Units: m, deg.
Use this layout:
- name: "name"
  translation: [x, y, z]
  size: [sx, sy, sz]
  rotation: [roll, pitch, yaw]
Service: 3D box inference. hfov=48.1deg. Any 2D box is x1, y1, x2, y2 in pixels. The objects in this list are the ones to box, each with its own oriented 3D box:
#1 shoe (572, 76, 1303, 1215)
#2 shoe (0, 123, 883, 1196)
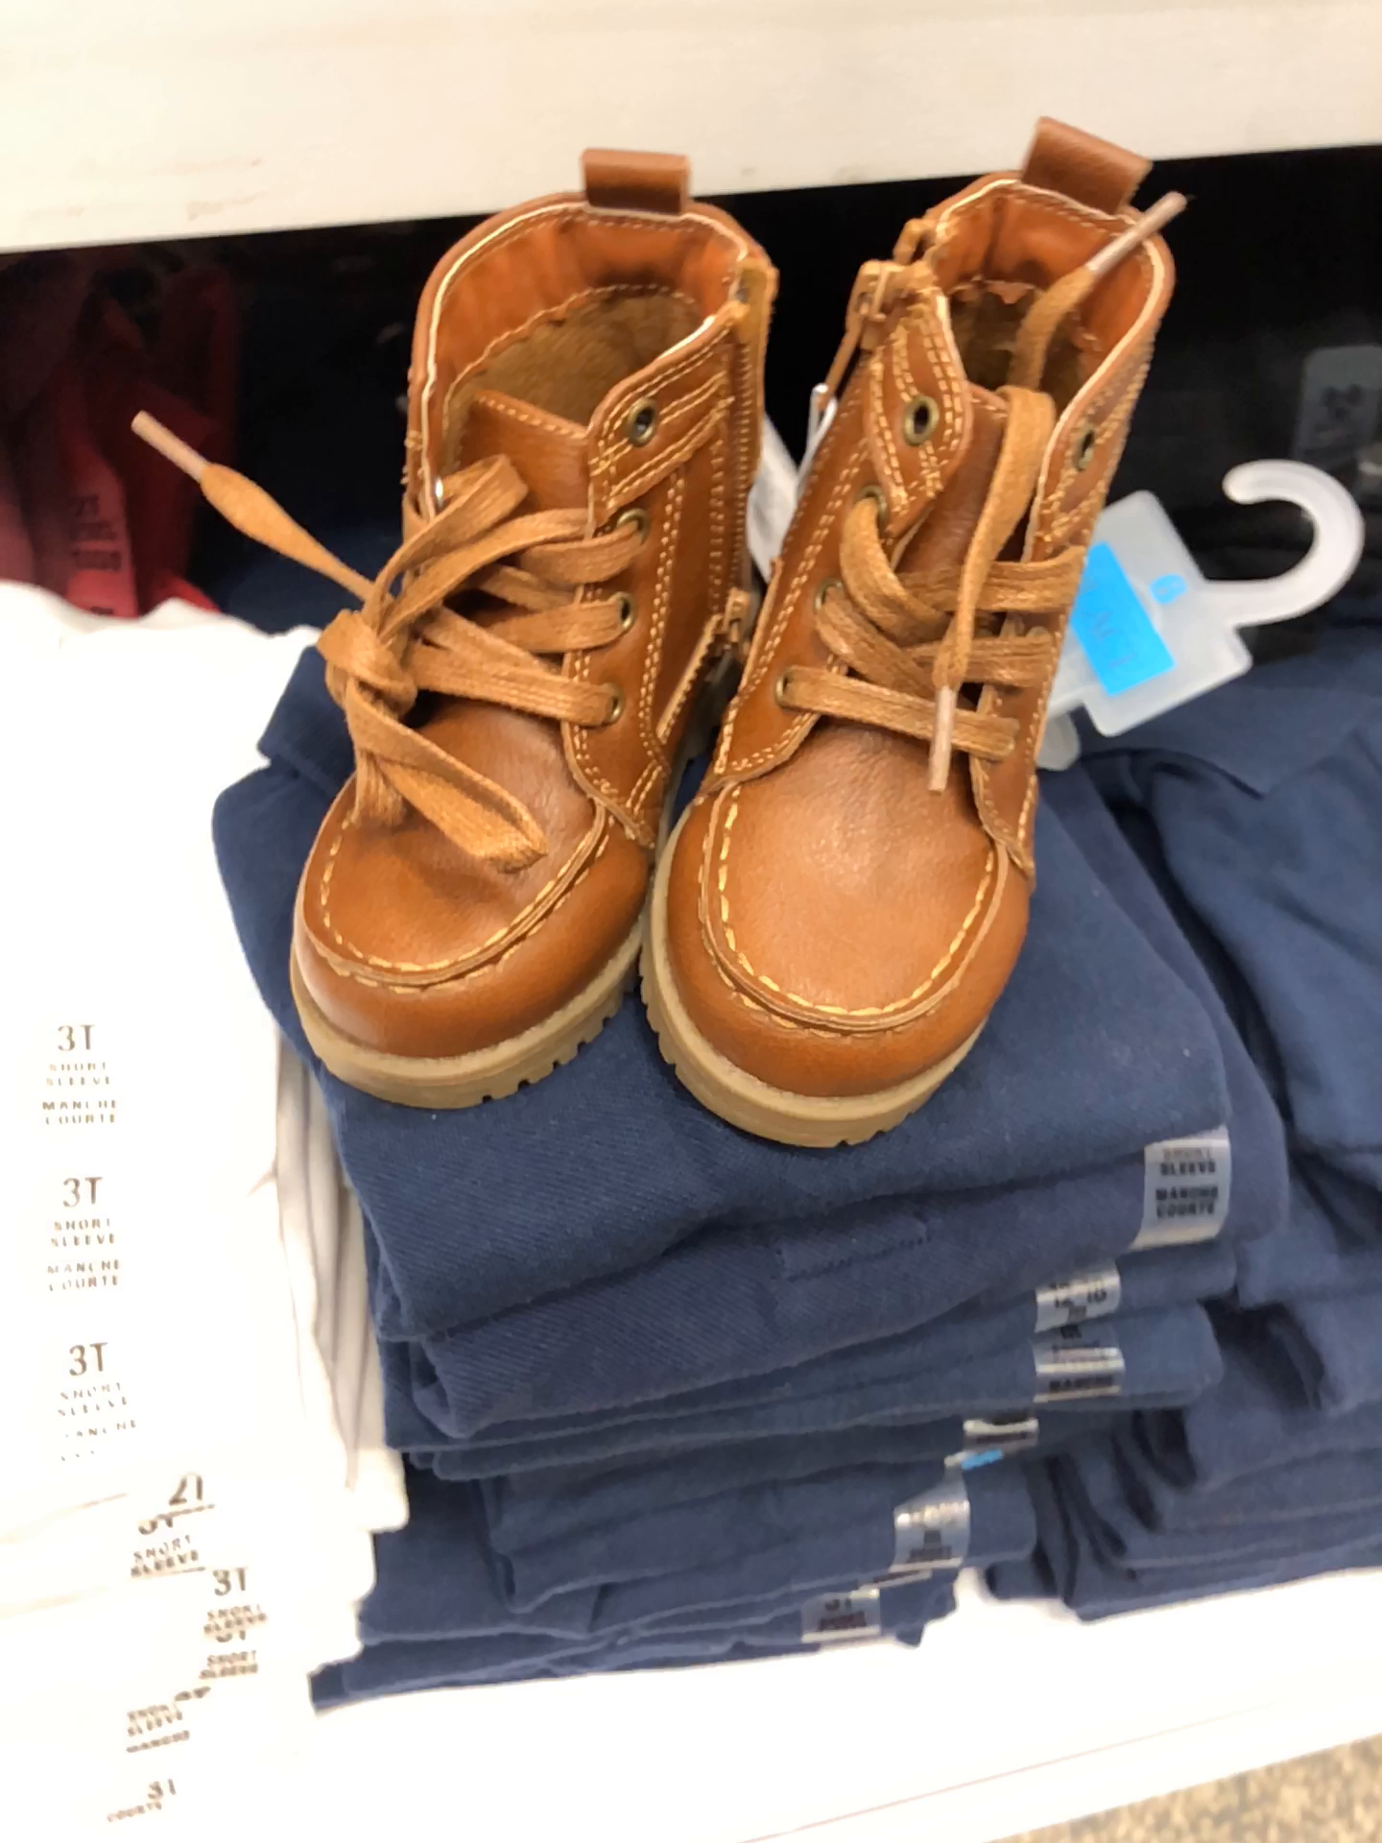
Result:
- name: "shoe"
  translation: [0.044, -0.052, 0.274]
  size: [0.080, 0.101, 0.161]
  rotation: [16, 55, 4]
- name: "shoe"
  translation: [-0.031, -0.051, 0.276]
  size: [0.080, 0.101, 0.151]
  rotation: [17, 55, 16]
